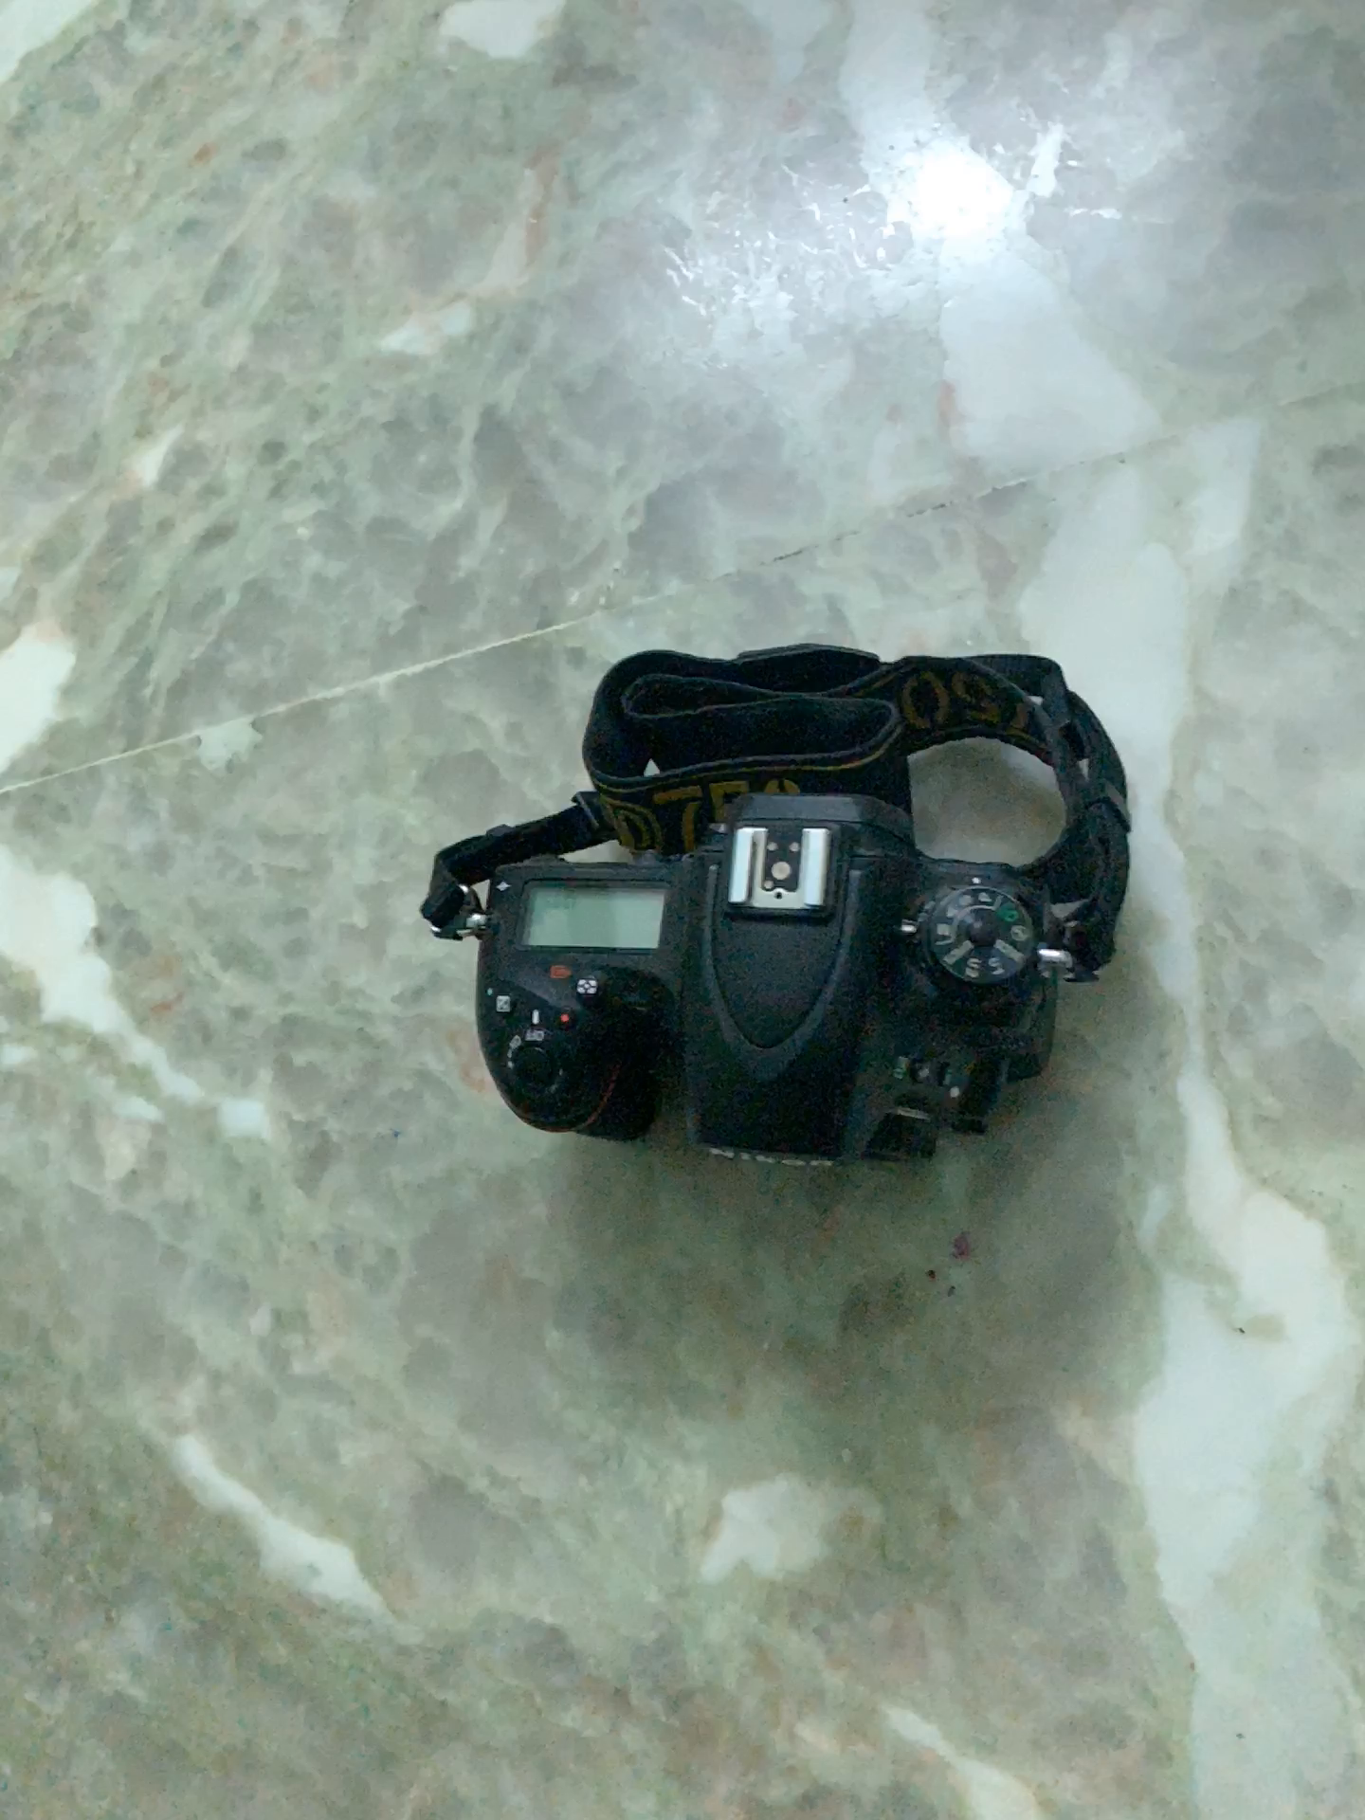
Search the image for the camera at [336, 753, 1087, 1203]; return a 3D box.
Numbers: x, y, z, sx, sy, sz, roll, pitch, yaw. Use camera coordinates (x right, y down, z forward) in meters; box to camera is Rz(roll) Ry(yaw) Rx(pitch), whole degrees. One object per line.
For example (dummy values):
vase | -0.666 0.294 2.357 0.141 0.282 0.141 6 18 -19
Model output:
camera | 0.016 0.019 0.331 0.150 0.100 0.080 2 76 17
